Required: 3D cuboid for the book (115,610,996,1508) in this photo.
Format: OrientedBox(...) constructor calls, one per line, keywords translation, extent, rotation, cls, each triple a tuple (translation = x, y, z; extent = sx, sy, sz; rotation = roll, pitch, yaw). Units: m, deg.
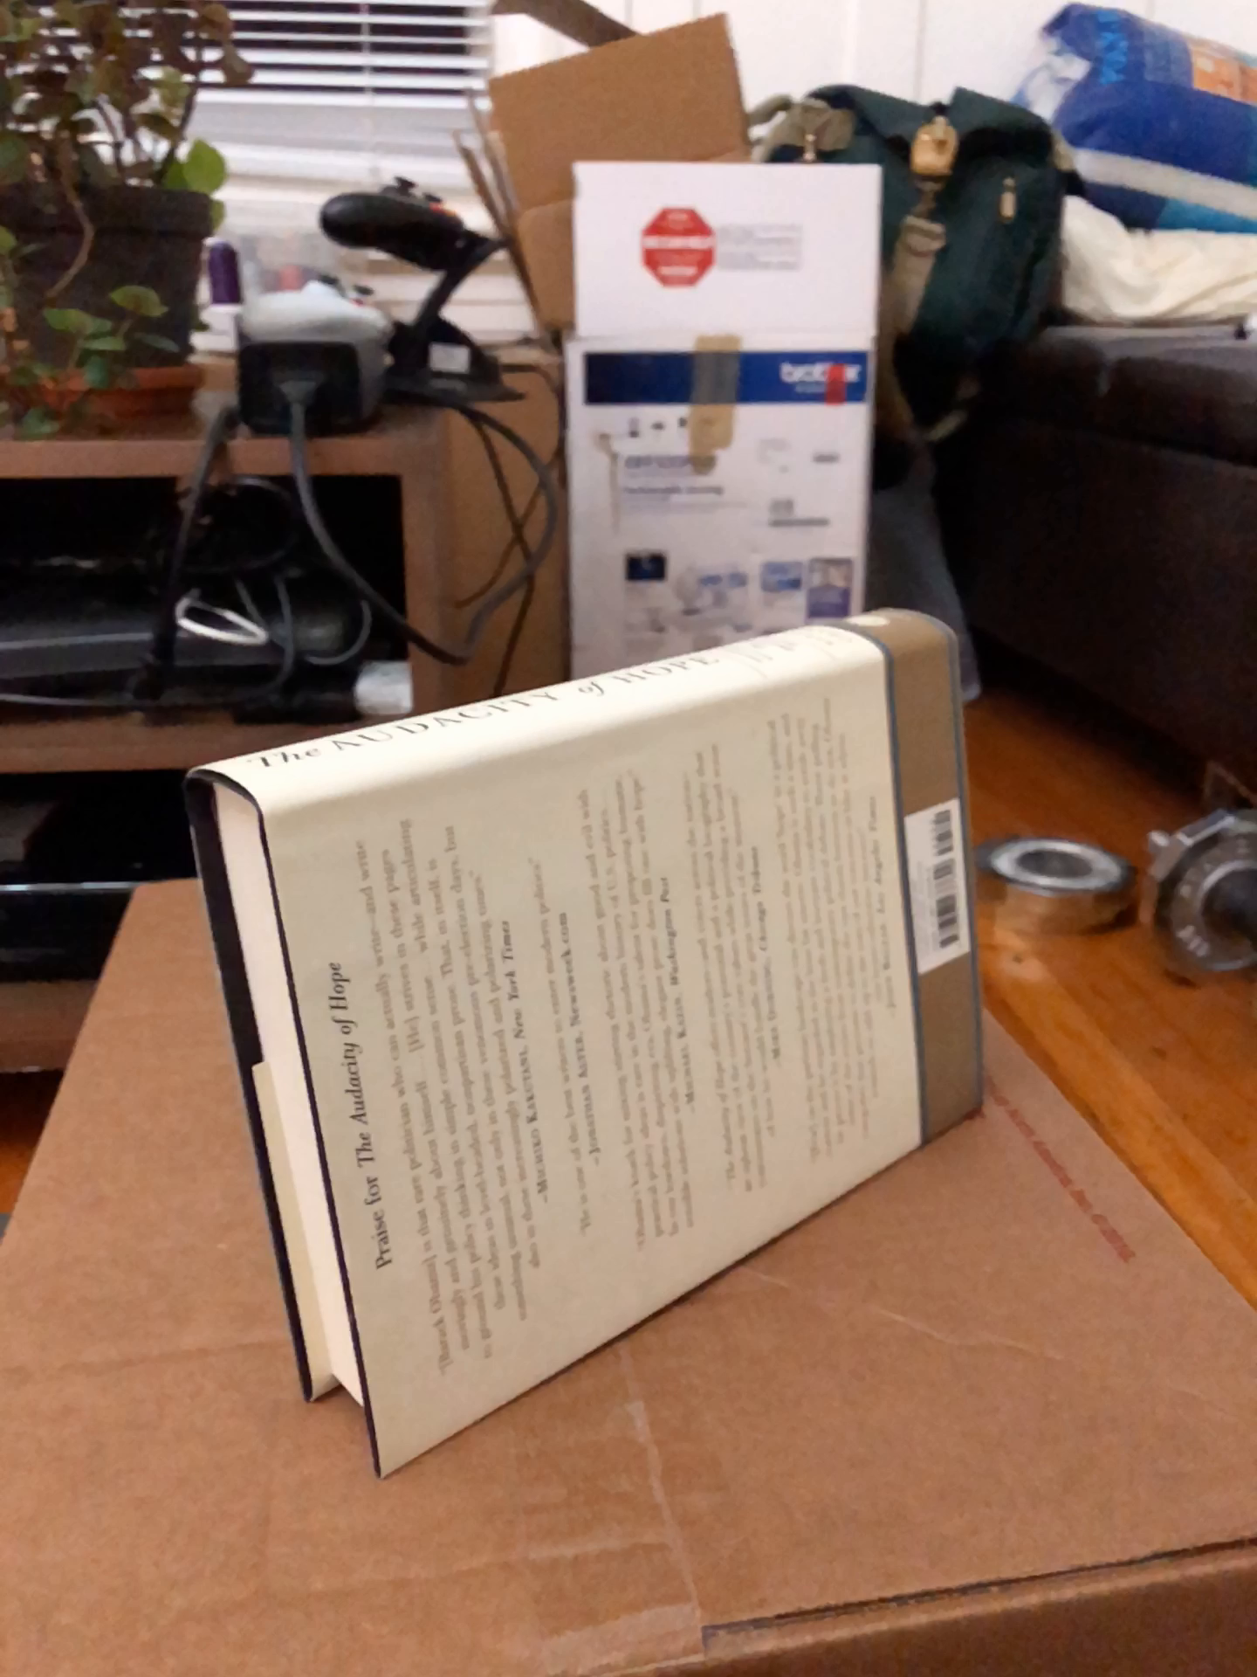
OrientedBox(translation=(0.003, 0.036, 0.397), extent=(0.251, 0.170, 0.060), rotation=(-17, 15, -40), cls="book")
